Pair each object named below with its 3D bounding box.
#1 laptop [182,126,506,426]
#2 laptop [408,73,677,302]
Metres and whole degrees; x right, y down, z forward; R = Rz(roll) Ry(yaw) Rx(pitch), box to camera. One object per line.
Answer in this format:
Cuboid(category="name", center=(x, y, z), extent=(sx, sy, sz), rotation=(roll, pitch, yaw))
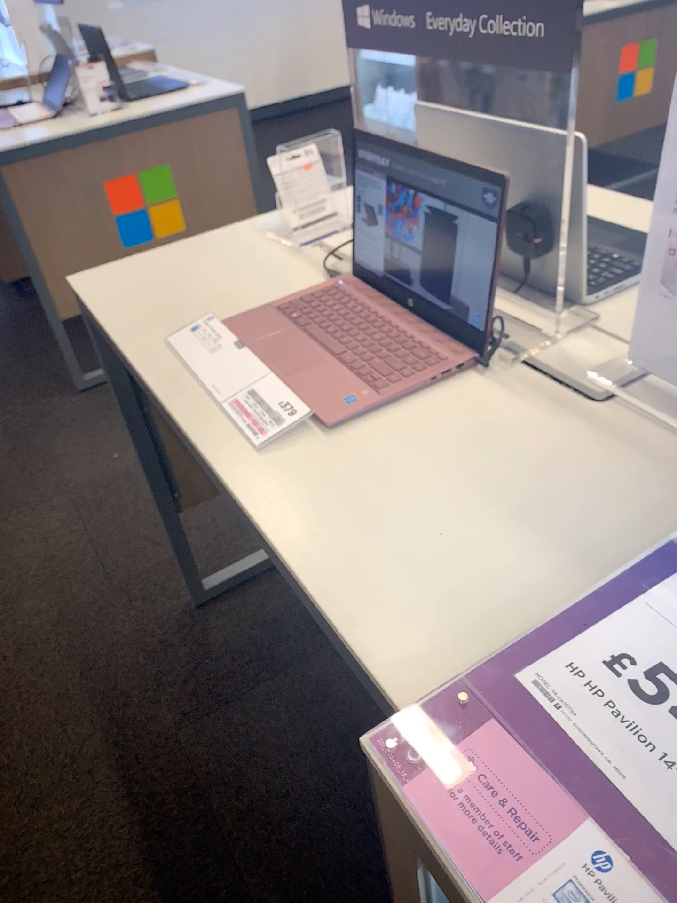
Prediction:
Cuboid(category="laptop", center=(0.000, -0.234, 0.854), extent=(0.250, 0.200, 0.314), rotation=(-24, 40, -18))
Cuboid(category="laptop", center=(0.294, -0.387, 0.979), extent=(0.244, 0.186, 0.326), rotation=(-24, 40, -21))
